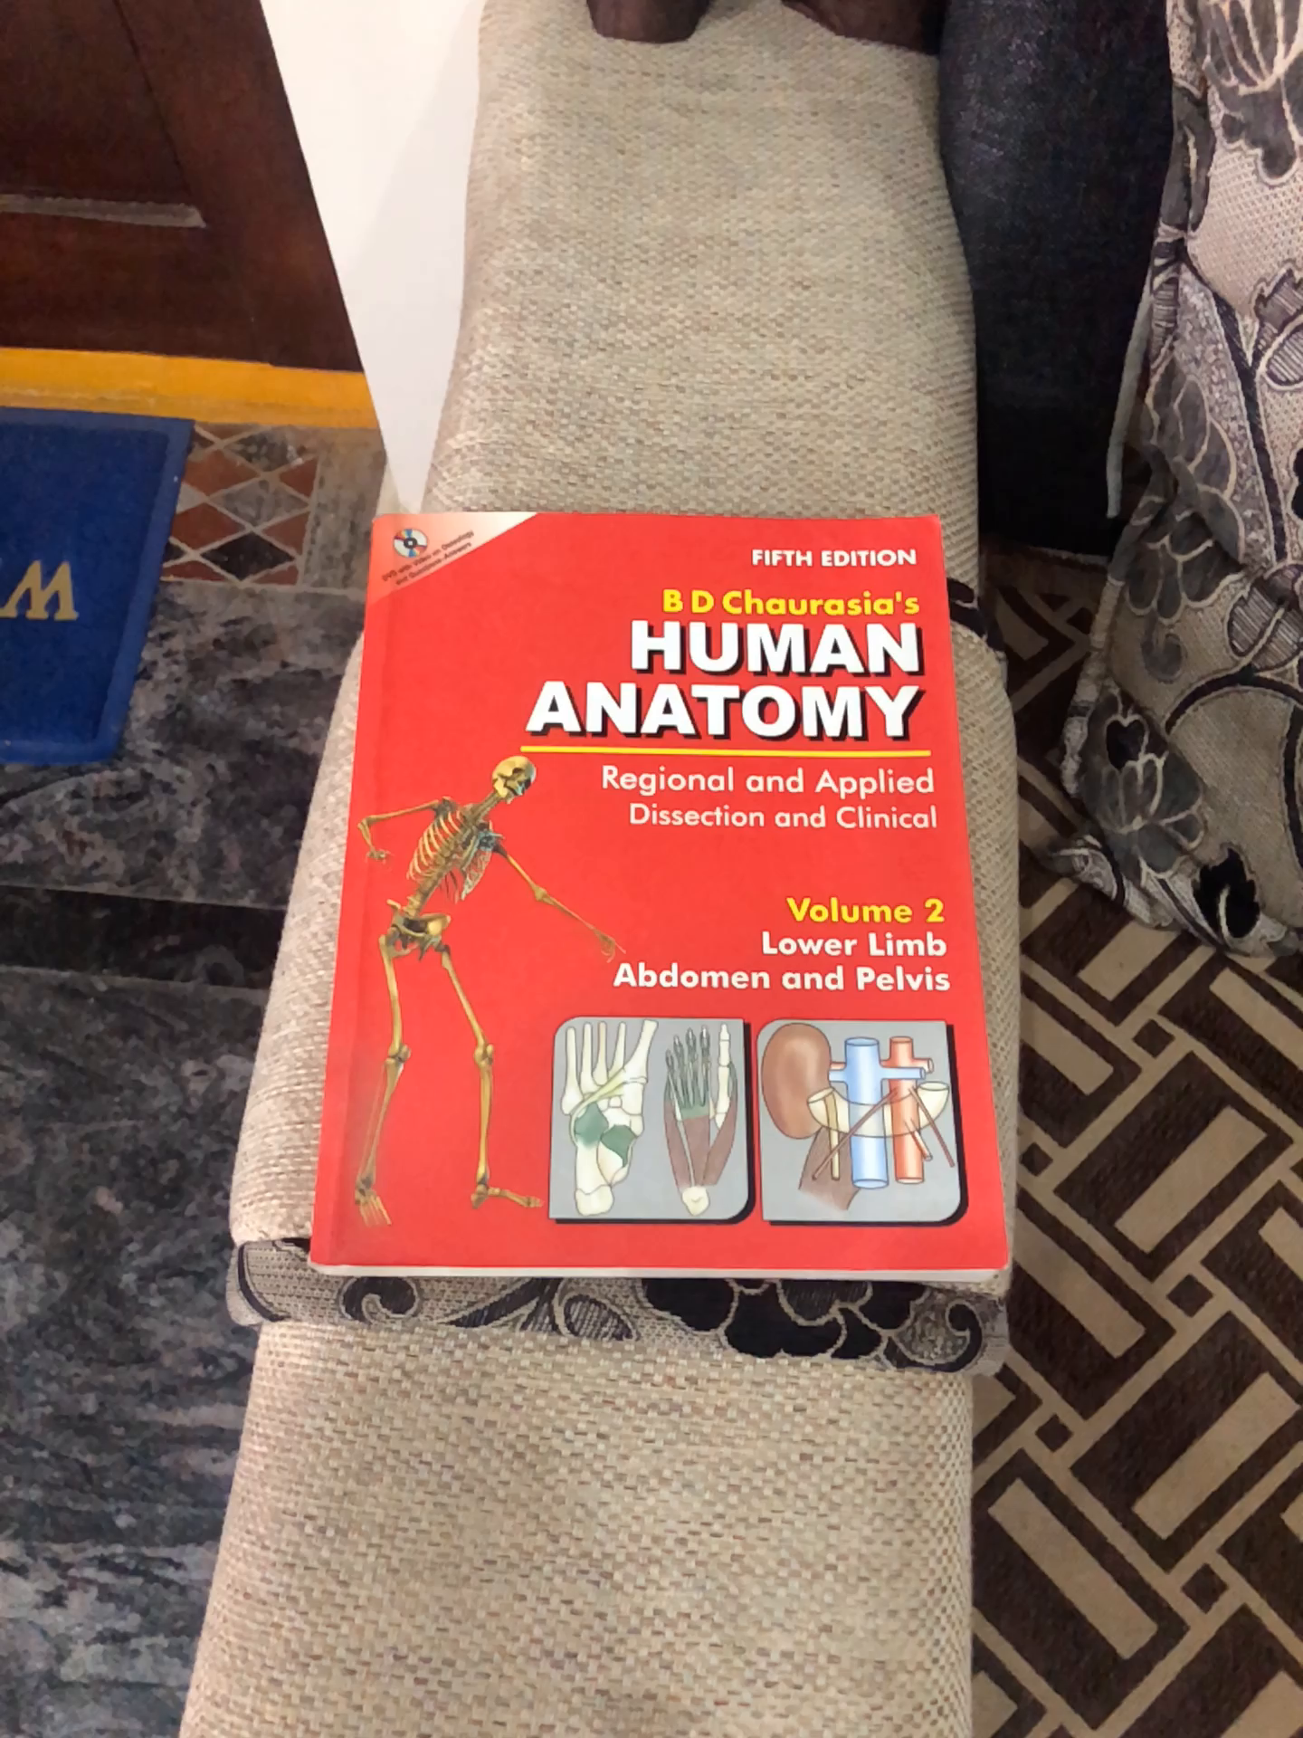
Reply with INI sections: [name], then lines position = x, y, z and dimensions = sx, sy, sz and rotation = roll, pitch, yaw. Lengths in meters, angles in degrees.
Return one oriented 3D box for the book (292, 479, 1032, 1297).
[book]
position = 0.004, -0.004, 0.501
dimensions = 0.220, 0.040, 0.290
rotation = 0, 68, 0
